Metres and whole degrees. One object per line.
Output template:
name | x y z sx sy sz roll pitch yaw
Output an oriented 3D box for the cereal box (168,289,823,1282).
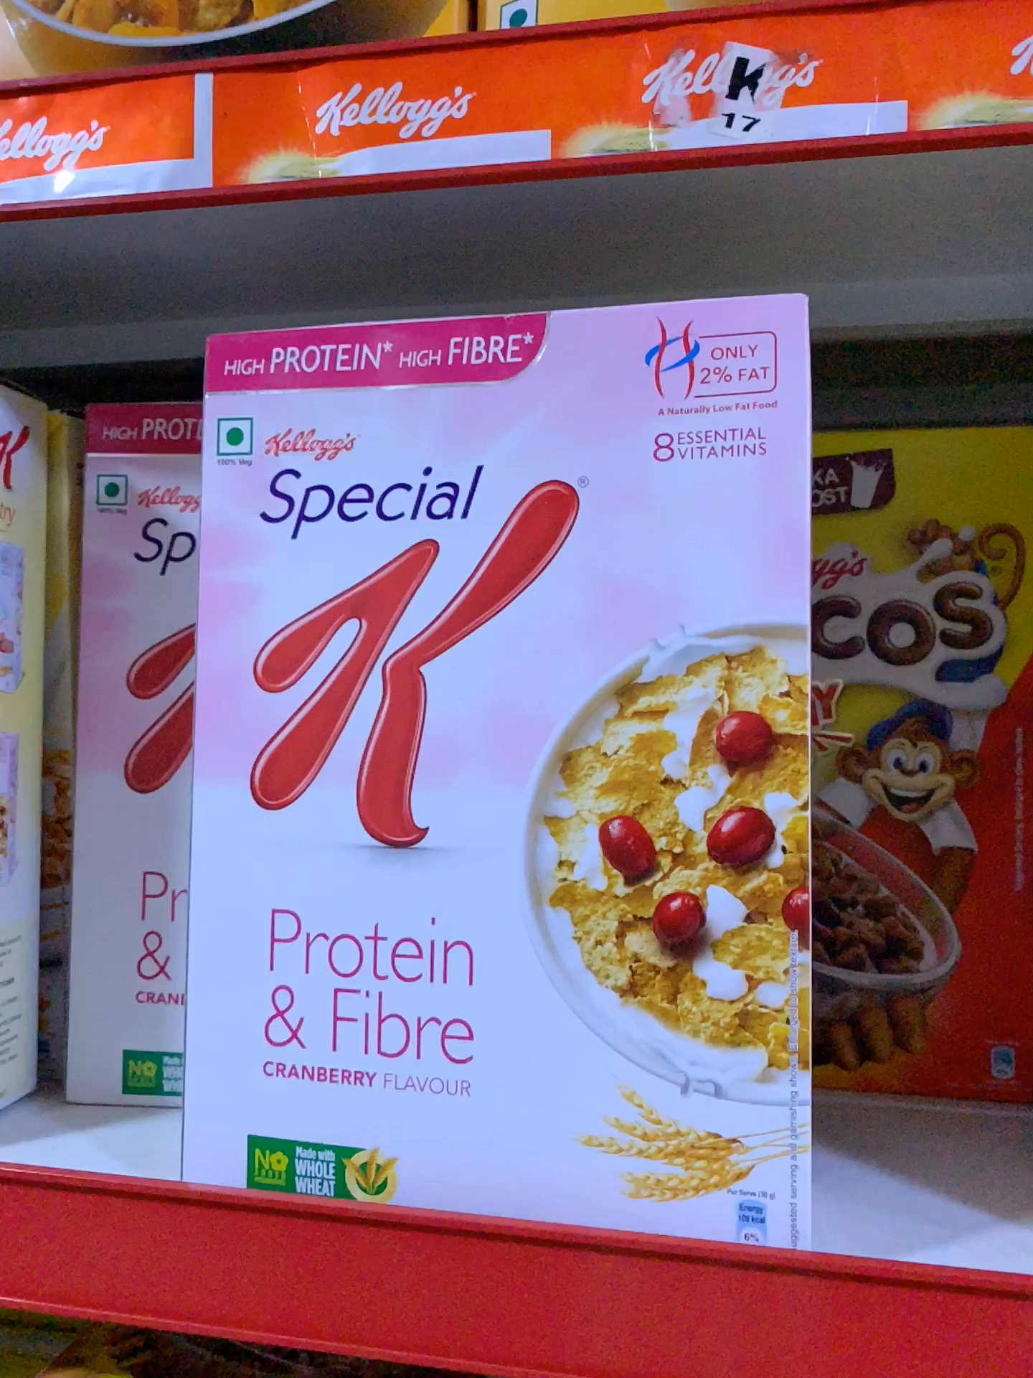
cereal box | -0.003 0.021 0.308 0.170 0.240 0.060 1 -2 12
